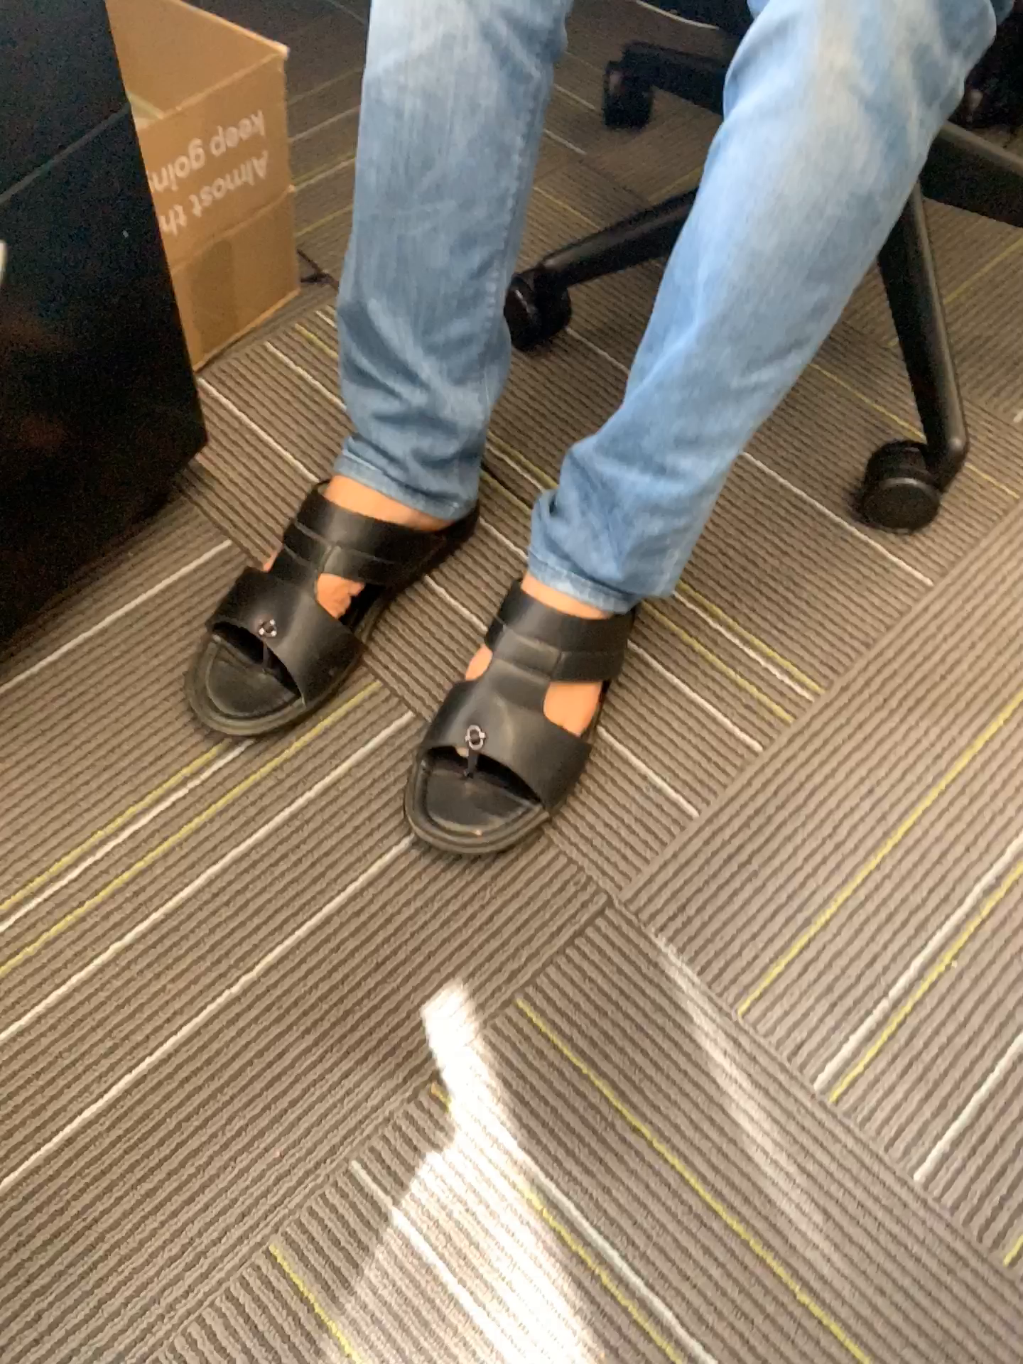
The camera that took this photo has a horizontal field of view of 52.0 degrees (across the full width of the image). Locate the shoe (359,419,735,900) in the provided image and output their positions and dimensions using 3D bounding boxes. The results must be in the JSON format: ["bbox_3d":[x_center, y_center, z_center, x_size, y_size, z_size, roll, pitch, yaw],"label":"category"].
[{"bbox_3d":[0.033,-0.025,0.749,0.118,0.116,0.317,26,61,13],"label":"shoe"}]

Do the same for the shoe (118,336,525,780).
[{"bbox_3d":[-0.124,-0.101,0.786,0.118,0.116,0.317,28,62,15],"label":"shoe"}]
